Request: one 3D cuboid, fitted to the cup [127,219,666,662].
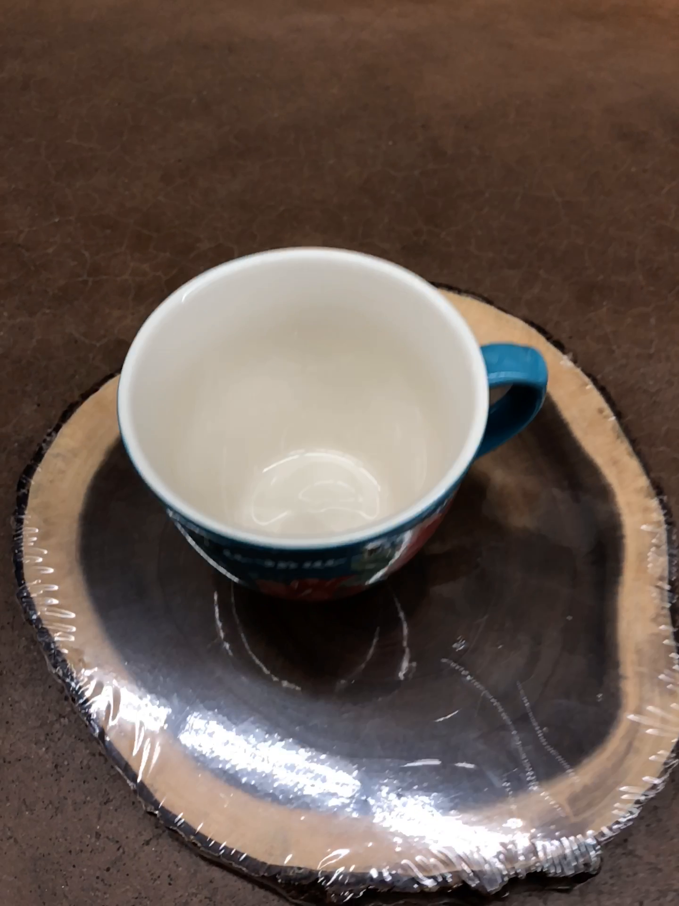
[{"bbox_3d":[0.009,-0.003,0.242,0.130,0.080,0.100,-6,58,-3],"label":"cup"}]
